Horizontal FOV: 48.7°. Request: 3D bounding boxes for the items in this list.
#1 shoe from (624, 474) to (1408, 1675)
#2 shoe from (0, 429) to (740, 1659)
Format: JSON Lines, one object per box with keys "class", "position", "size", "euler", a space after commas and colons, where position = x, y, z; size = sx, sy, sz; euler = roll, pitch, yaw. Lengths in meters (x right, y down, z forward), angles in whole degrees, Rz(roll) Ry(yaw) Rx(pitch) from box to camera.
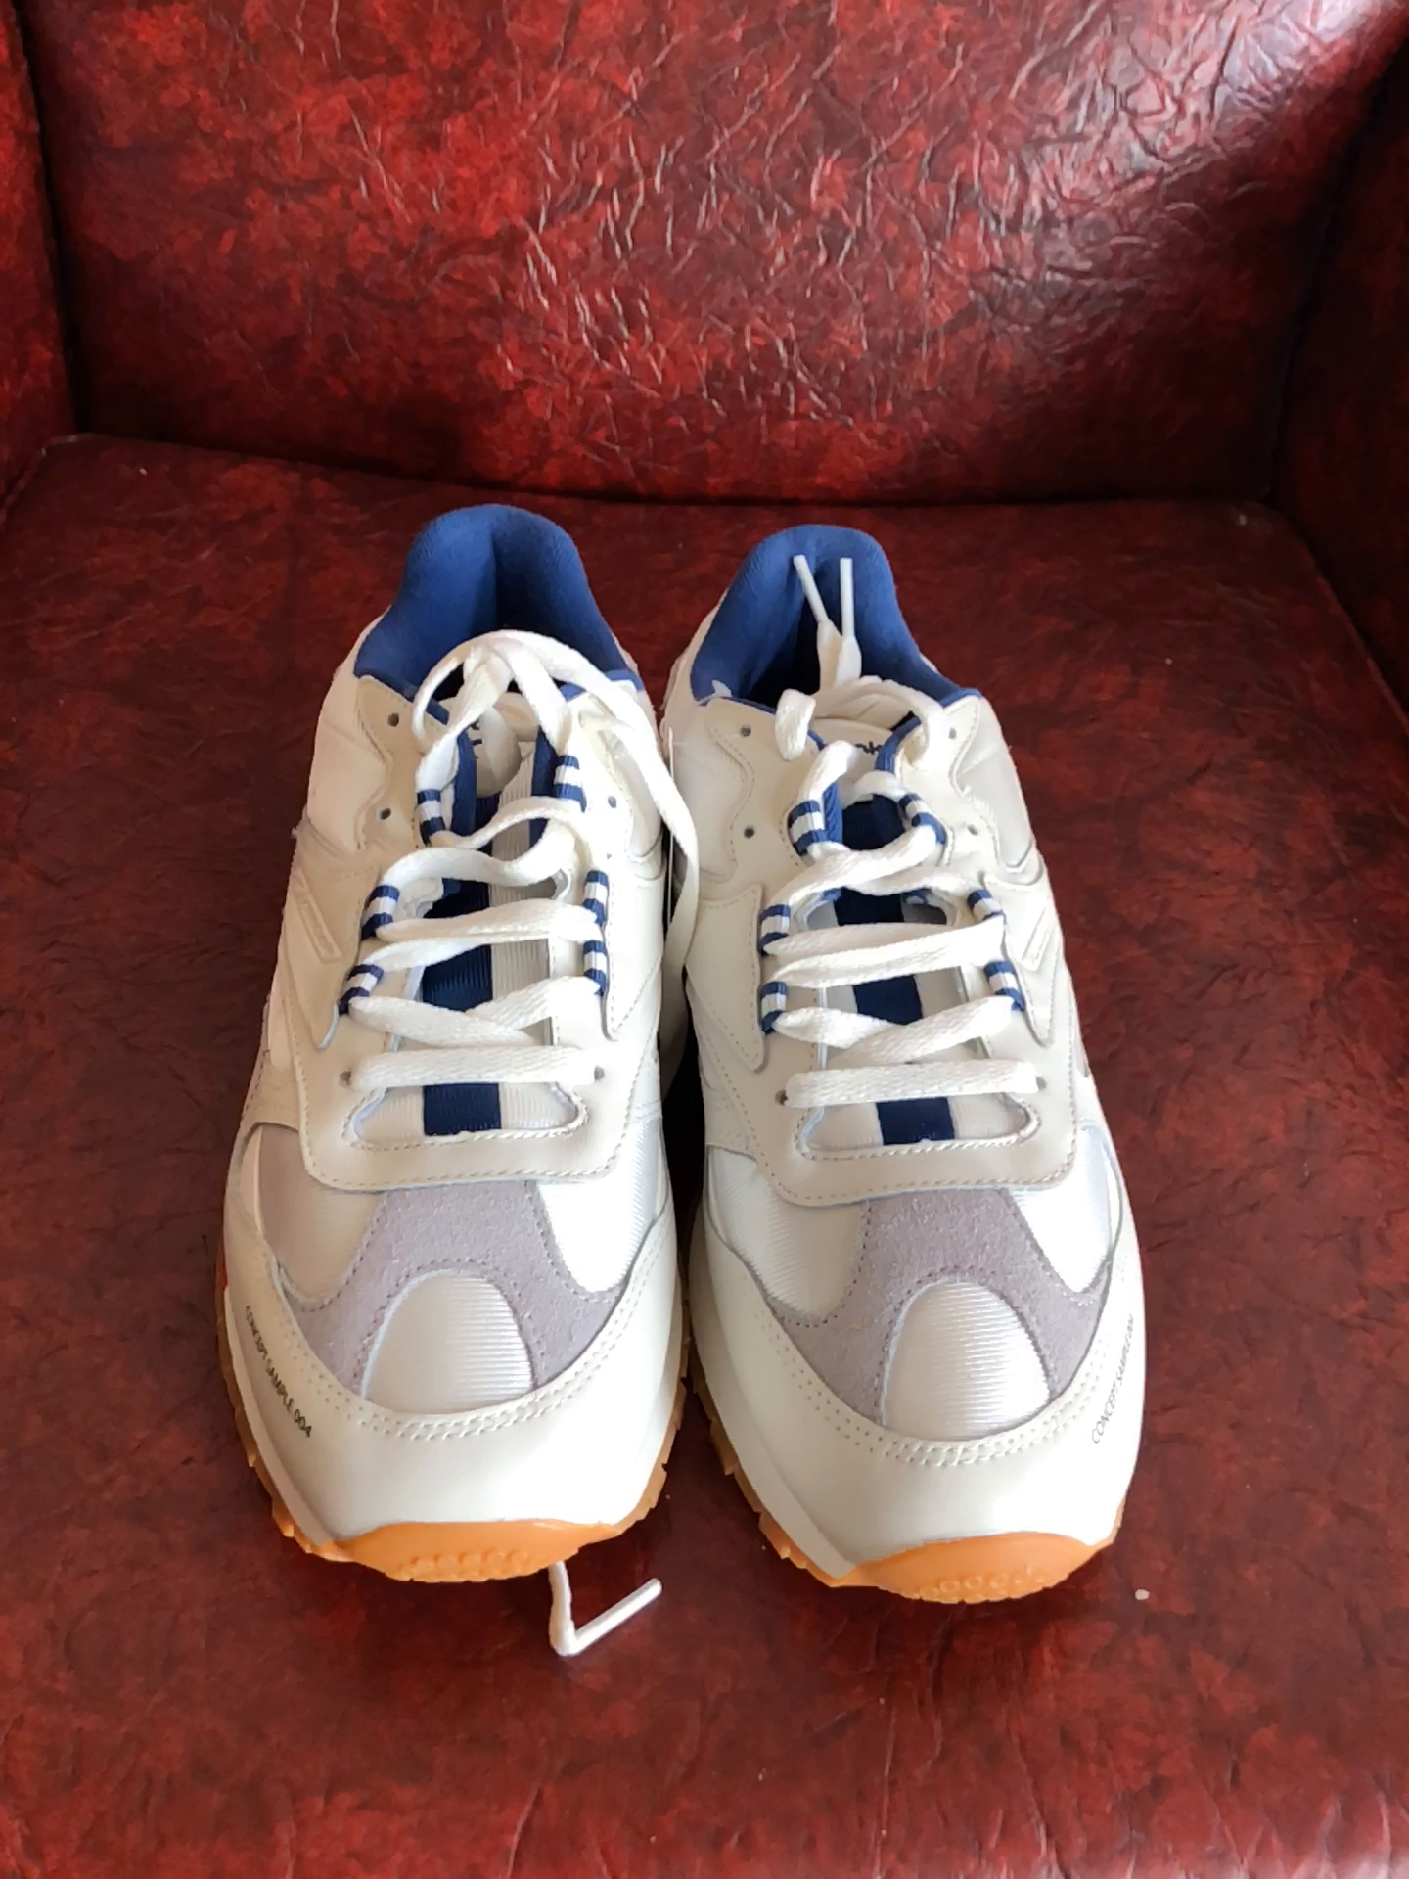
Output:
{"class": "shoe", "position": [0.045, 0.012, 0.370], "size": [0.110, 0.099, 0.272], "euler": [0, 49, -7]}
{"class": "shoe", "position": [-0.065, 0.004, 0.358], "size": [0.110, 0.099, 0.272], "euler": [0, 49, -7]}
